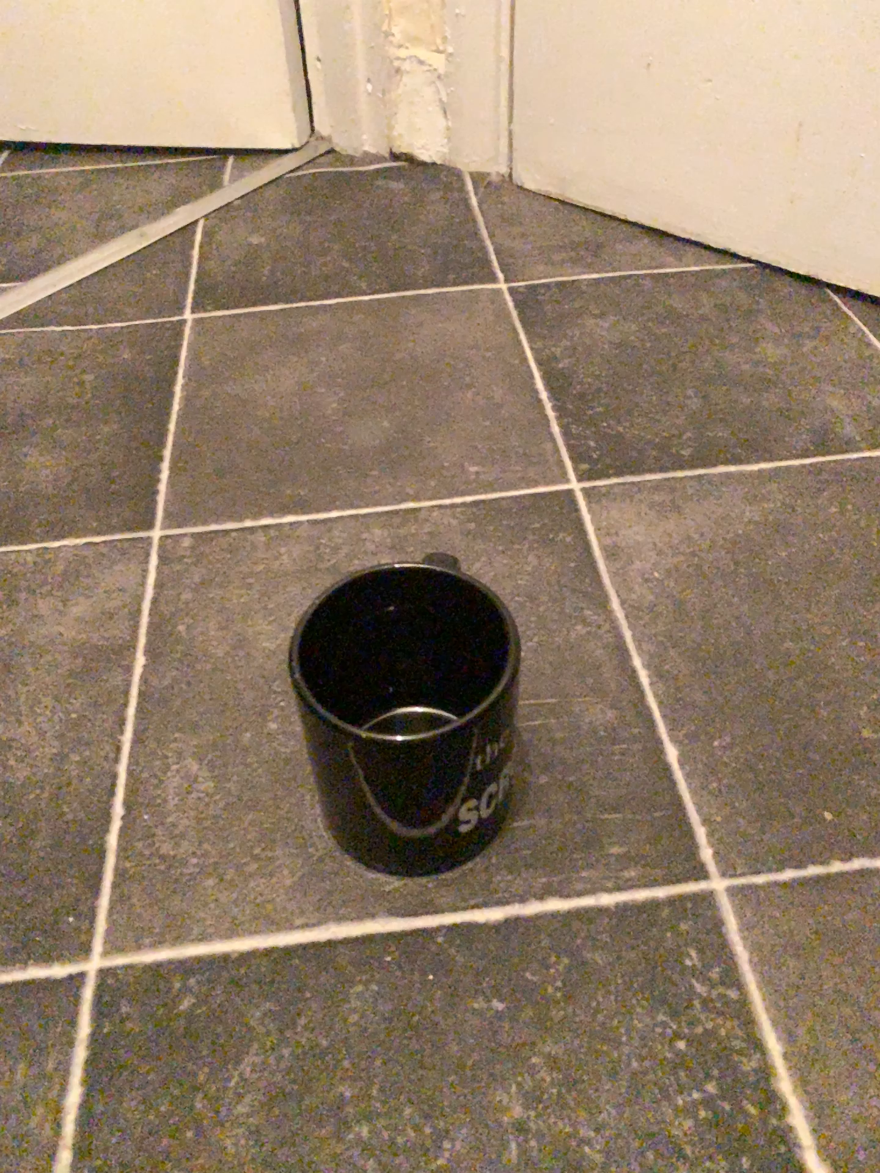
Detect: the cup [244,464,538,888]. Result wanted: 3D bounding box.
[{"bbox_3d":[-0.009,0.032,0.358,0.090,0.099,0.131,2,45,5],"label":"cup"}]
